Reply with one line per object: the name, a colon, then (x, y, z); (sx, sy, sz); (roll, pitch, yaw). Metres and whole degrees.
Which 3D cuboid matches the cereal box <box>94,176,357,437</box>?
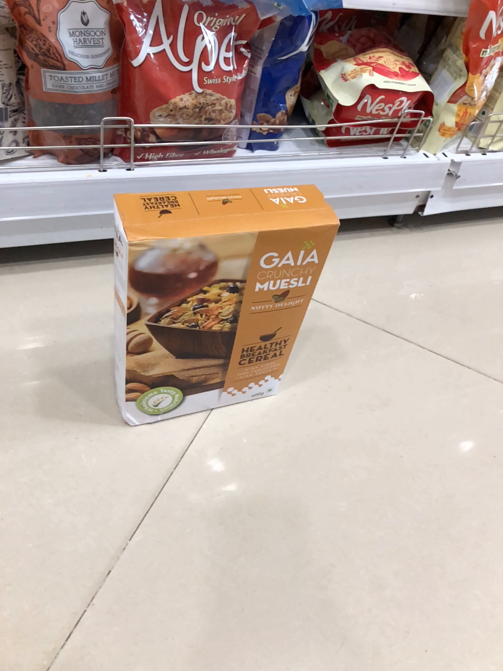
cereal box: (-0.038, -0.017, 0.506); (0.191, 0.248, 0.060); (-9, 52, -21)
